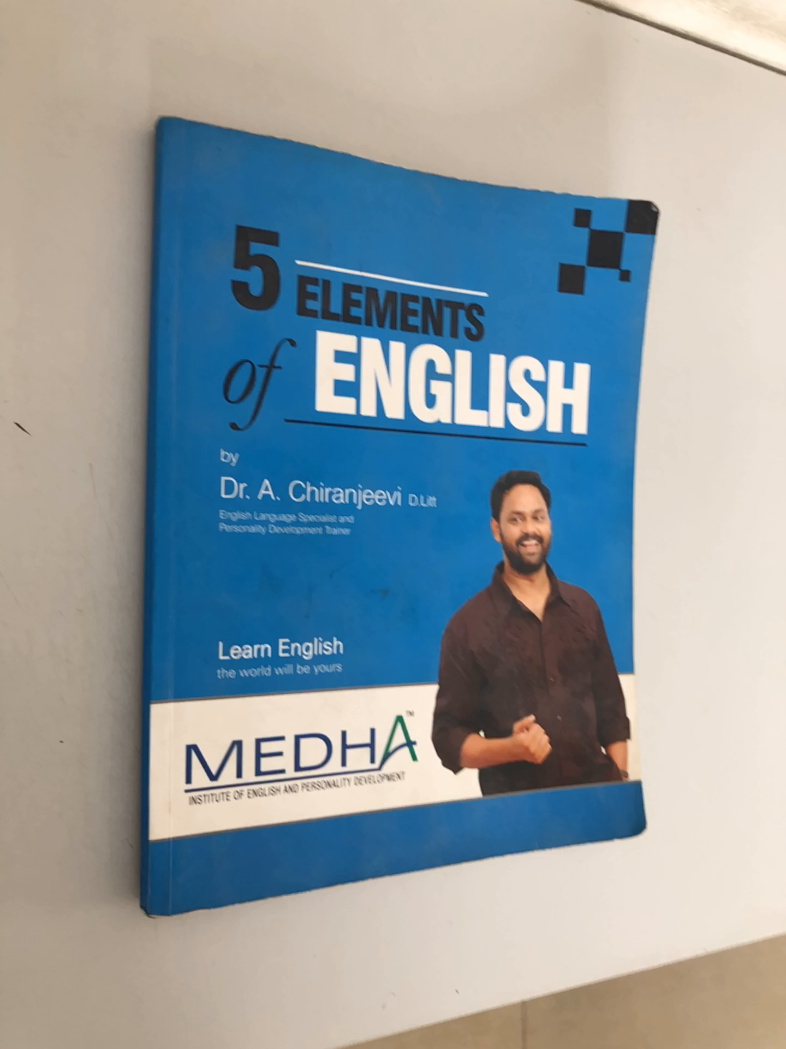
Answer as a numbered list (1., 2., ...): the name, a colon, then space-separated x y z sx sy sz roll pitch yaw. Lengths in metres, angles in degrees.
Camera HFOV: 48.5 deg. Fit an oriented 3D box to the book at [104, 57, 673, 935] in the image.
1. book: 0.007 -0.009 0.267 0.180 0.020 0.220 1 87 -26
